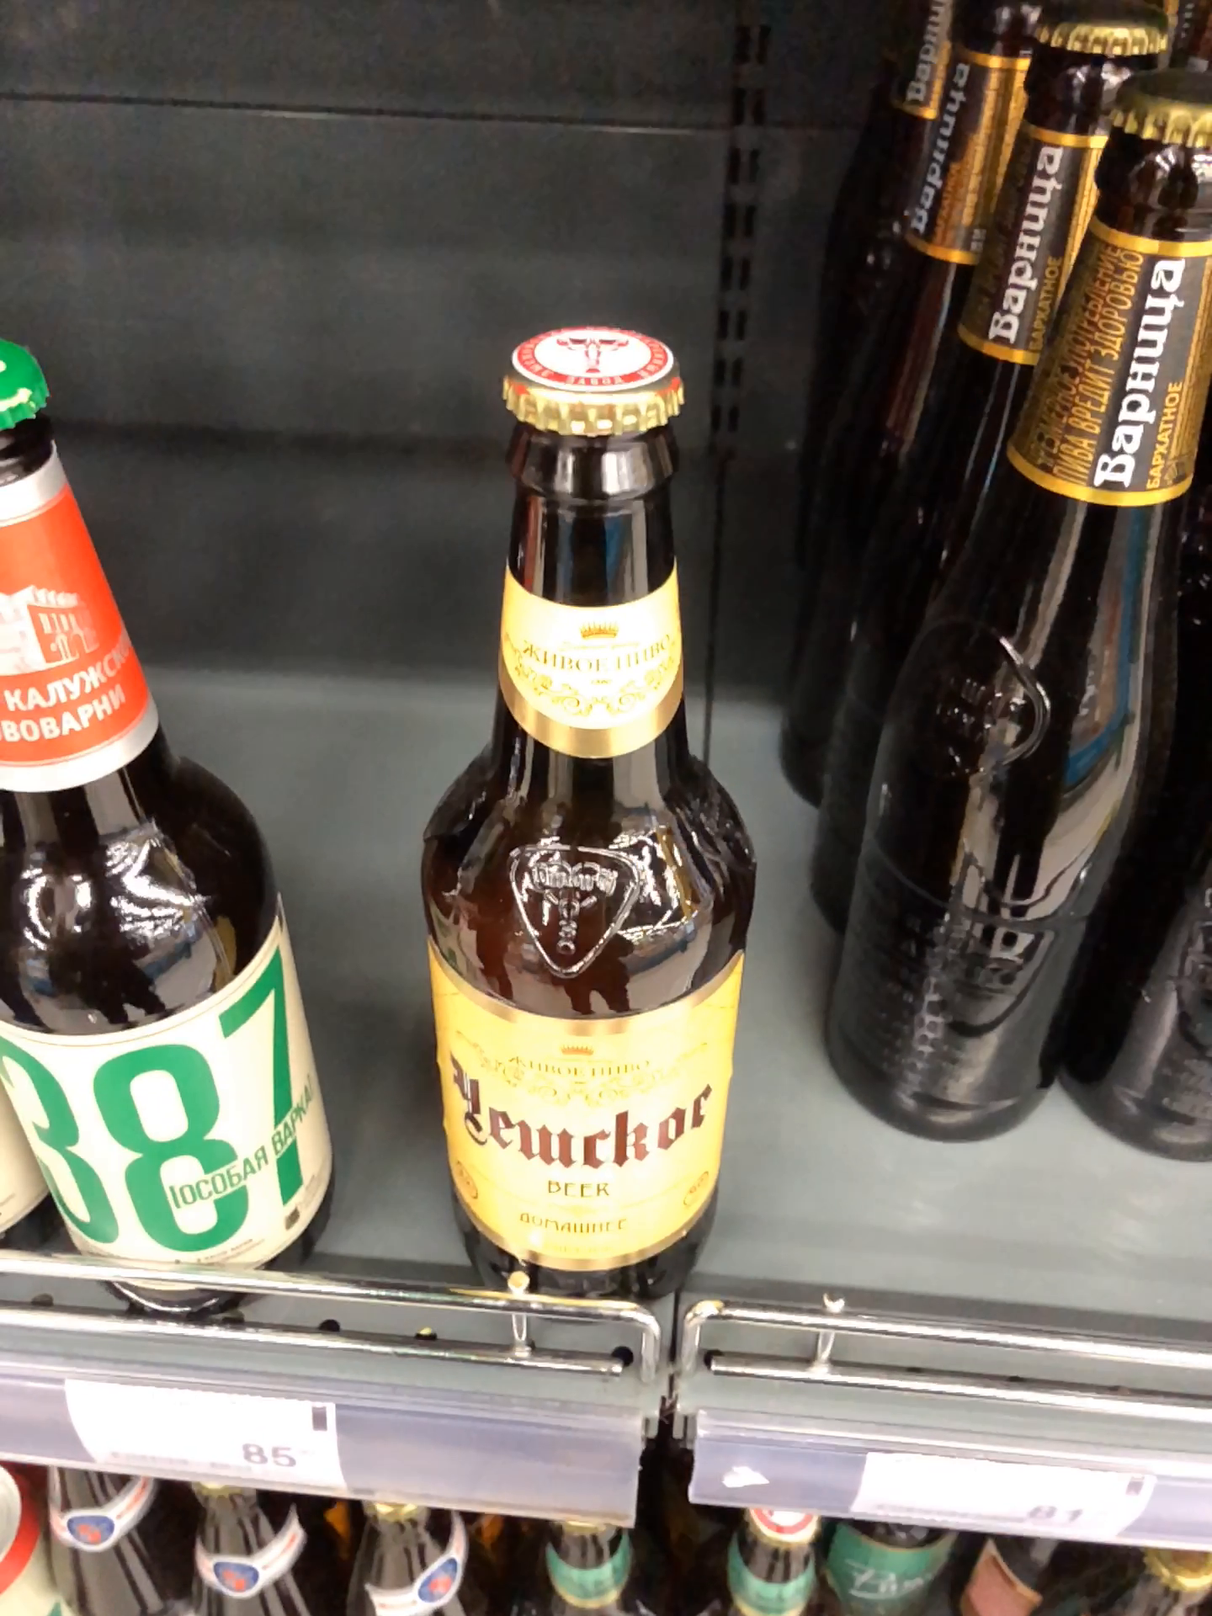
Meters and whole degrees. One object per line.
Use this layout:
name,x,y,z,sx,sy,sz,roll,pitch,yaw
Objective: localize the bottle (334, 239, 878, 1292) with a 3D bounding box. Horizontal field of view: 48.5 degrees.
bottle,0.000,0.009,0.306,0.080,0.239,0.080,0,41,0
